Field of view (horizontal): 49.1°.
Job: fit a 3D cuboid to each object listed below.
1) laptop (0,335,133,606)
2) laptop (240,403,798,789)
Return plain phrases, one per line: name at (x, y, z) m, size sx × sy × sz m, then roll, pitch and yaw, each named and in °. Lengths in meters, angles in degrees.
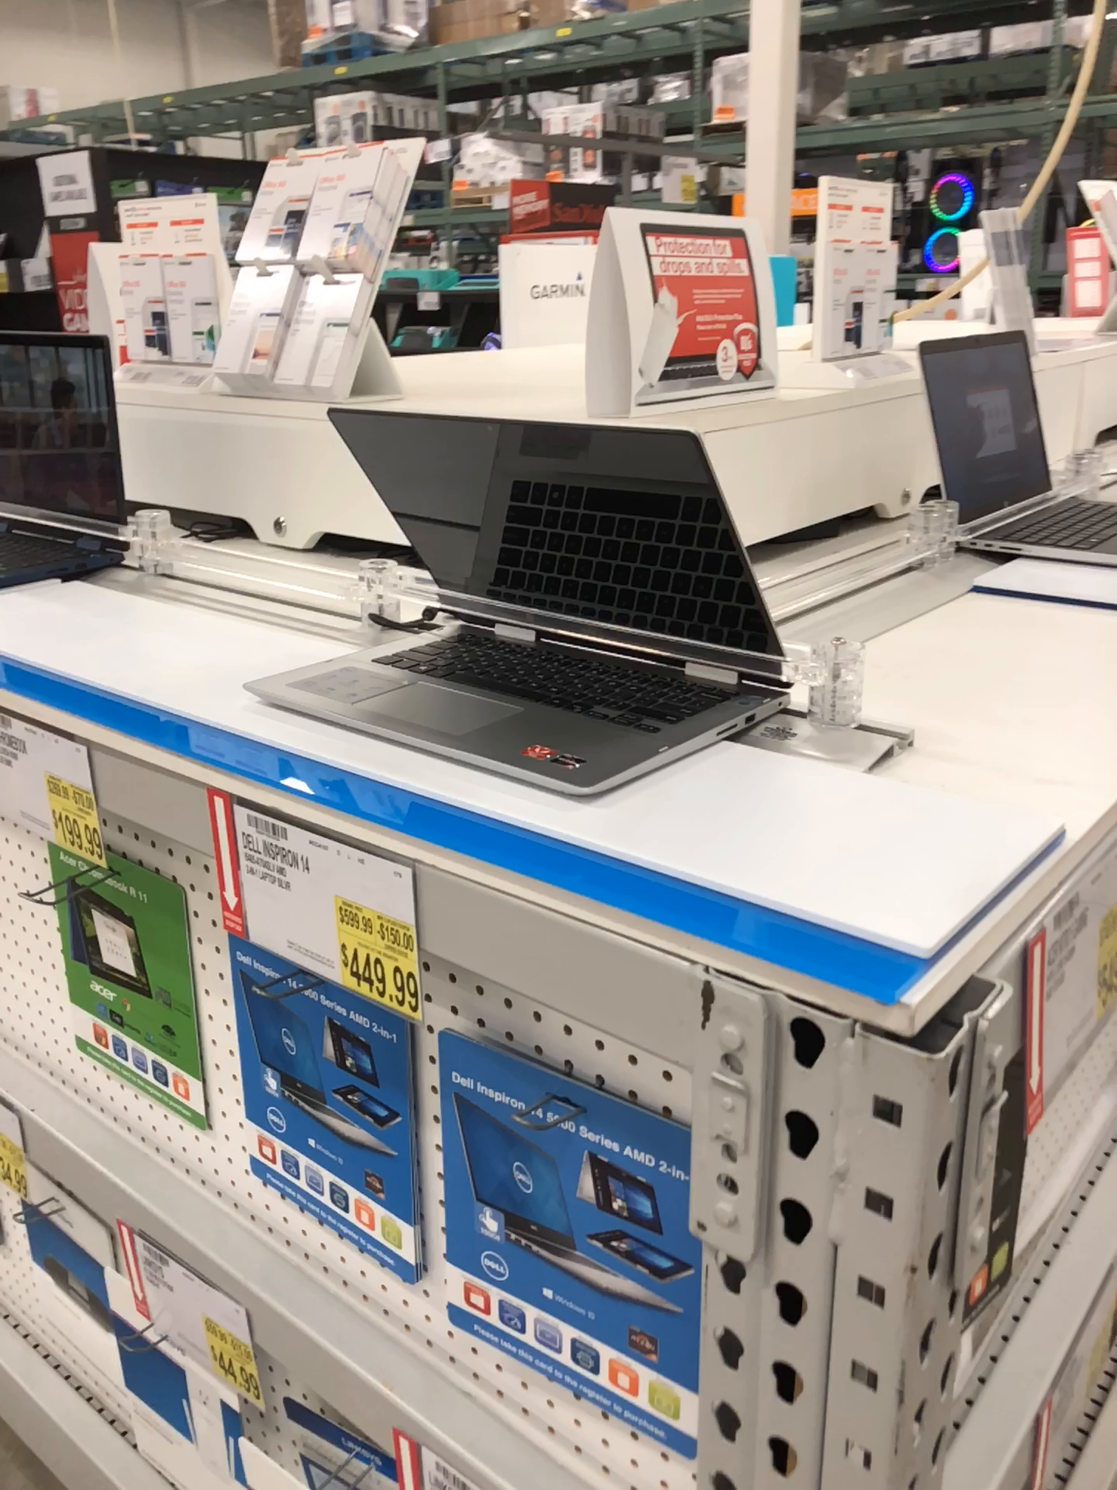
laptop at (-0.755, -0.343, 1.448) m, size 0.365 × 0.239 × 0.285 m, roll 14°, pitch 27°, yaw 35°
laptop at (-0.029, -0.123, 0.823) m, size 0.308 × 0.183 × 0.210 m, roll 16°, pitch 26°, yaw 39°
